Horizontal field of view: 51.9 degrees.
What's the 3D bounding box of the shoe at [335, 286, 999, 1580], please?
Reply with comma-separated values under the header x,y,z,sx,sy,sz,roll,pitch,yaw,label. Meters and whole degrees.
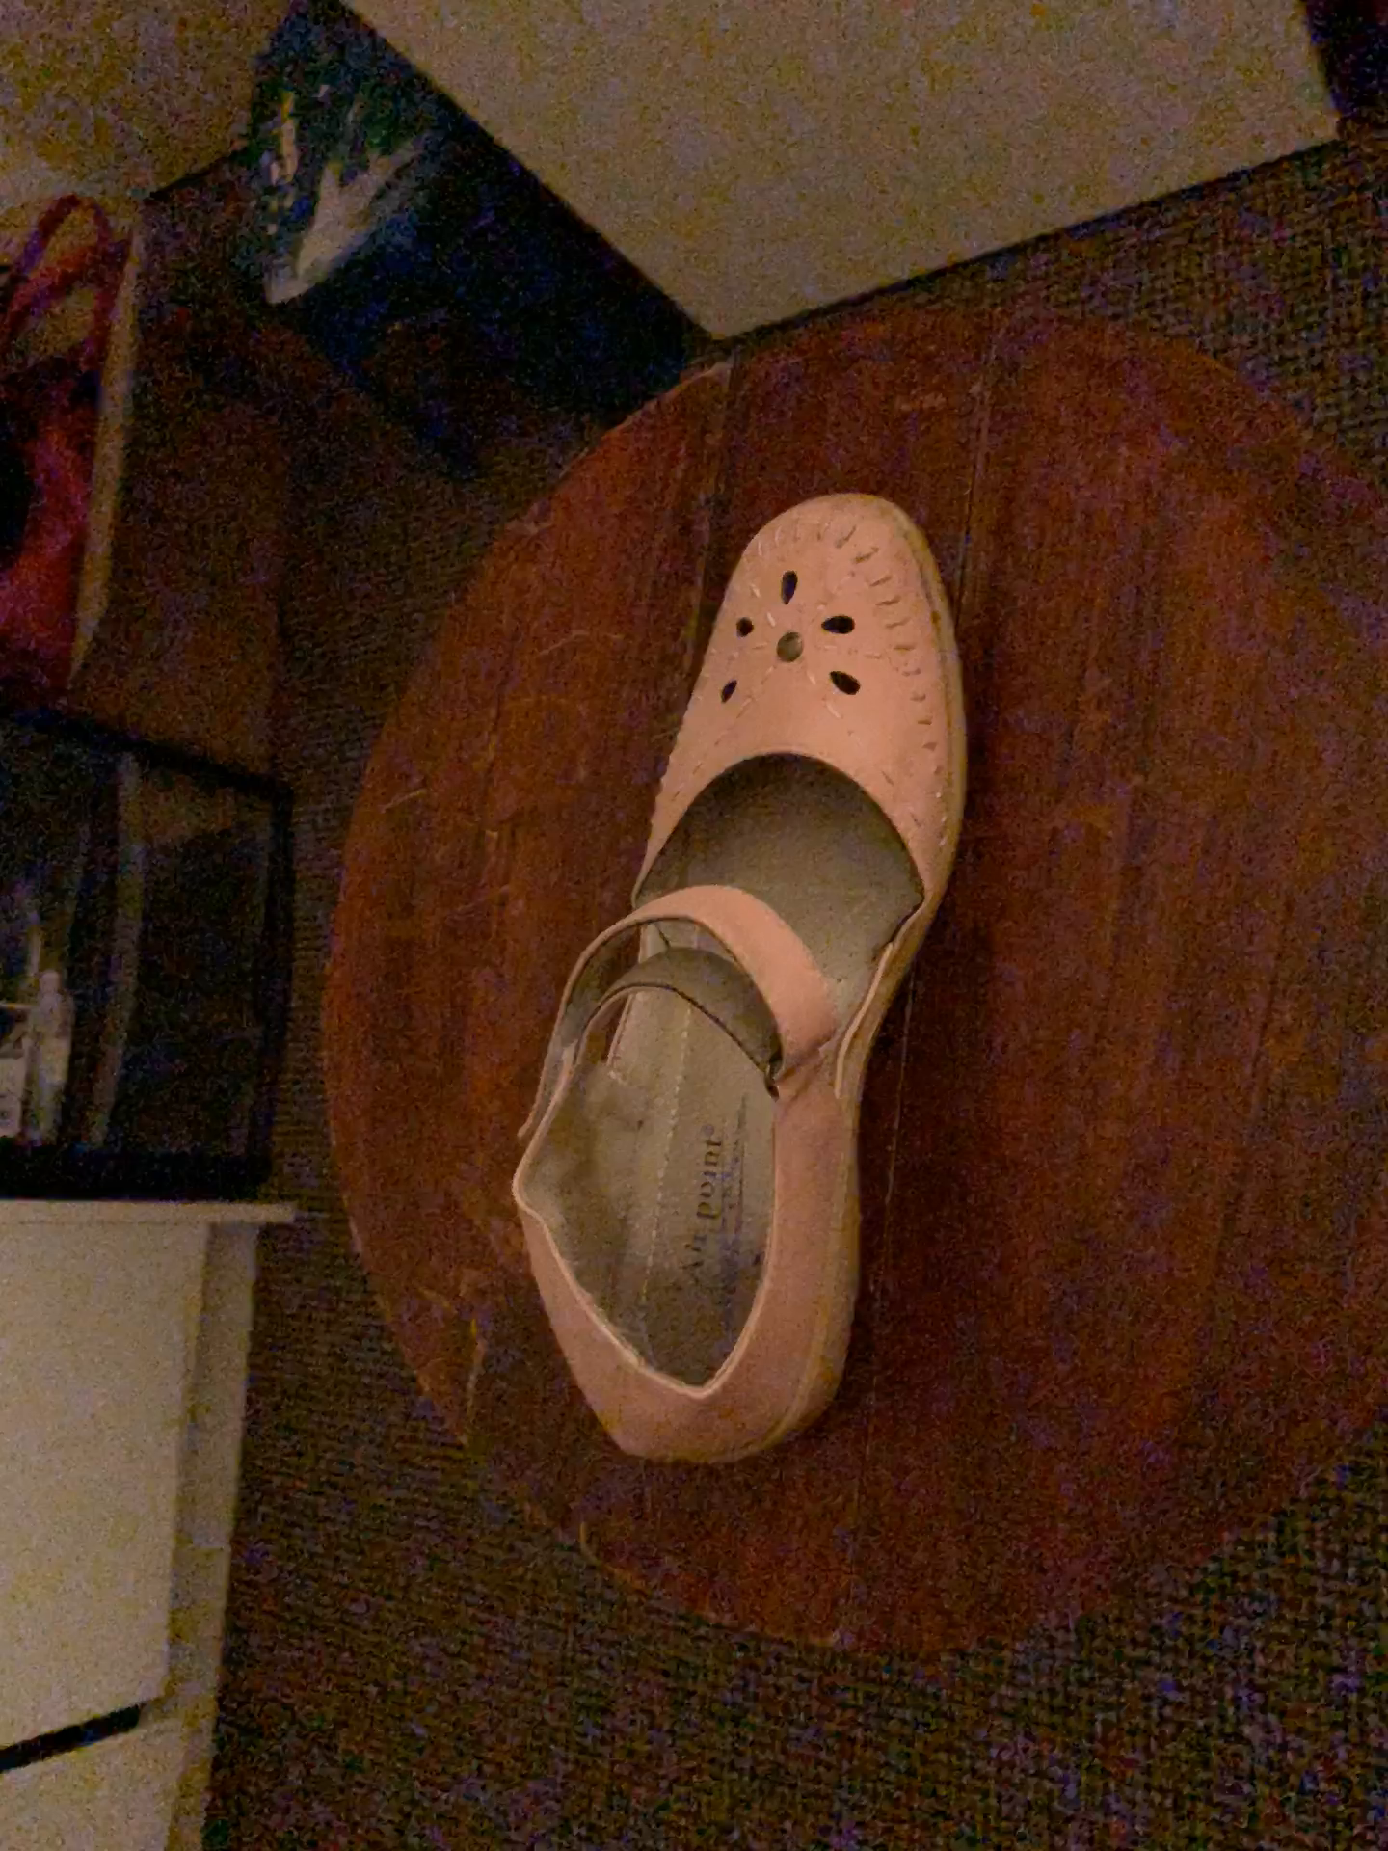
x,y,z,sx,sy,sz,roll,pitch,yaw,label
-0.001,0.000,0.361,0.102,0.092,0.271,2,81,35,shoe
